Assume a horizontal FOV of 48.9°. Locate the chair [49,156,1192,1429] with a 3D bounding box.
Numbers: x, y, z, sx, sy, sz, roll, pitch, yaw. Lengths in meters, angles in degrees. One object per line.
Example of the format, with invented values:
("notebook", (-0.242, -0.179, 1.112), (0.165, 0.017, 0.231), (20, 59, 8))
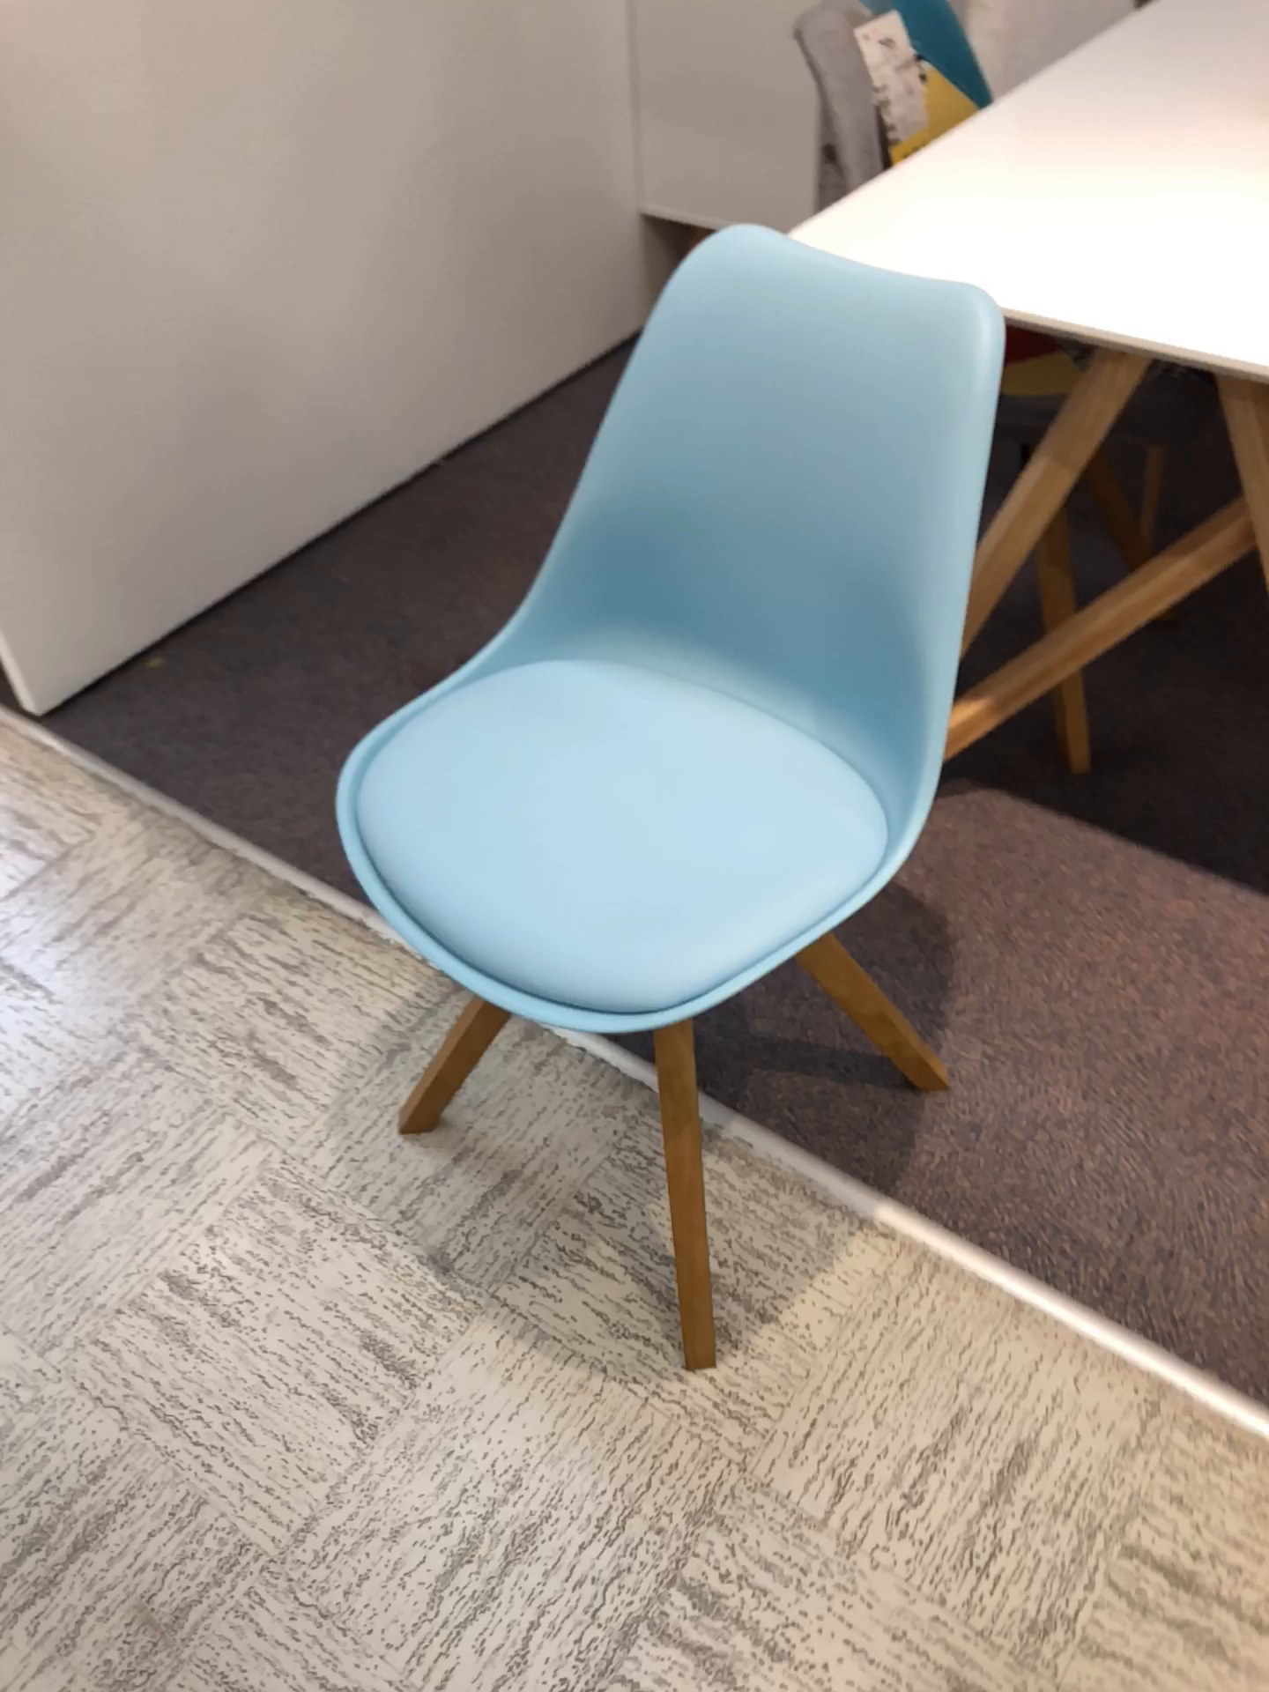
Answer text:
("chair", (0.018, -0.050, 1.218), (0.540, 0.796, 0.563), (28, 52, 29))
